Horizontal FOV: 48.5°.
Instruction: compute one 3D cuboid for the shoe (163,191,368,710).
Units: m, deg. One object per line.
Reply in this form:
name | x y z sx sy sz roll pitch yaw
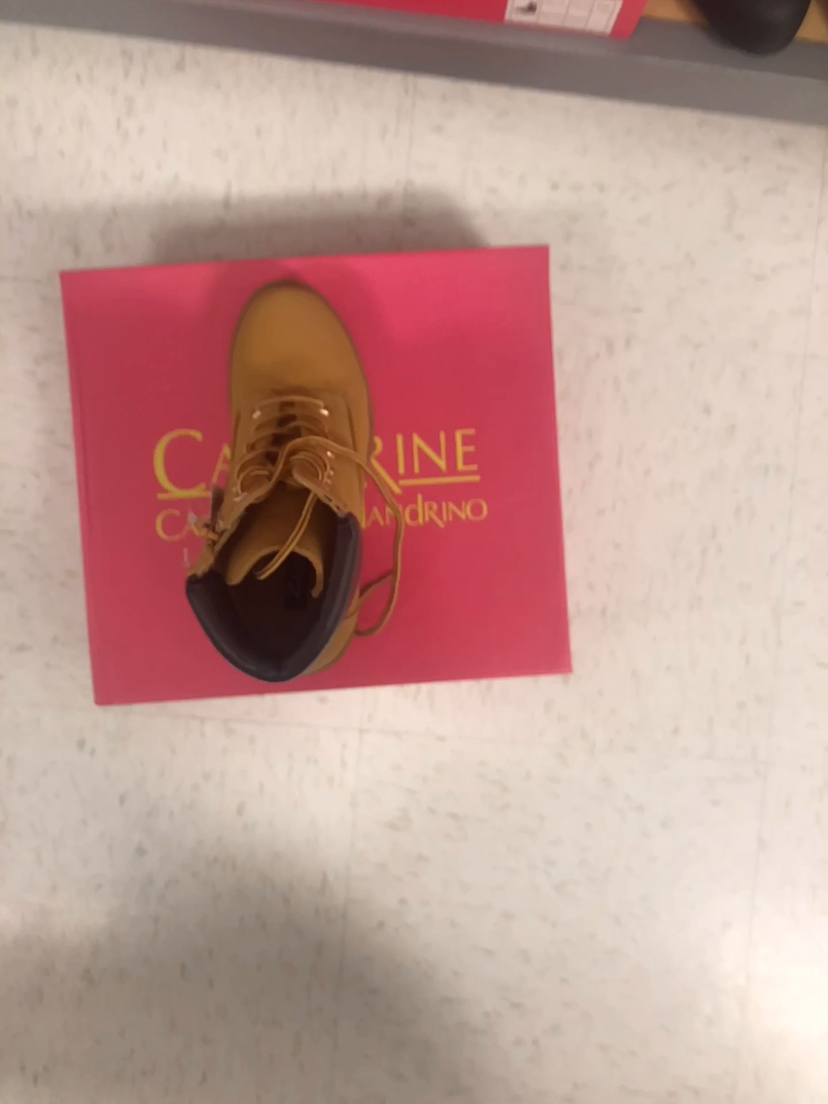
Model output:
shoe | -0.067 -0.043 0.473 0.085 0.170 0.217 0 91 -3
